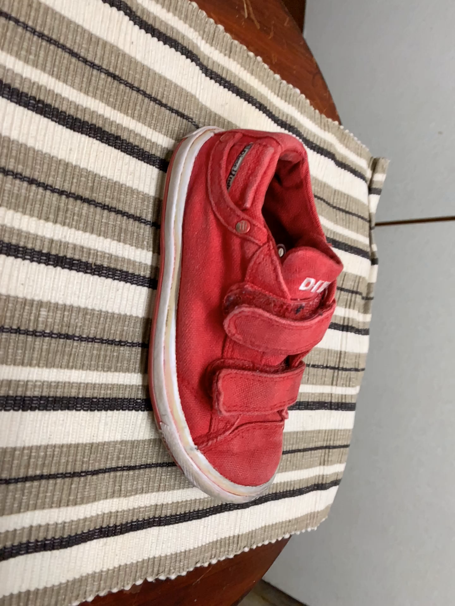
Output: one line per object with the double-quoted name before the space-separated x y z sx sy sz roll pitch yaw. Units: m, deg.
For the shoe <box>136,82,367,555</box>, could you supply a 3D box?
"shoe" 0.011 0.005 0.221 0.081 0.070 0.170 -2 94 -45
